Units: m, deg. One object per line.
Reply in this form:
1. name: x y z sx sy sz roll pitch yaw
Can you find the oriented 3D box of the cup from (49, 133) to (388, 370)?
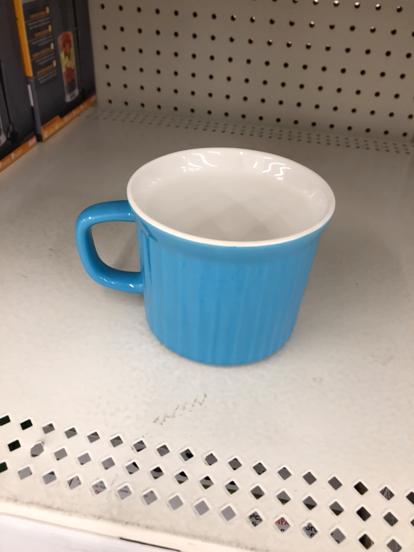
1. cup: 0.002 -0.020 0.296 0.160 0.093 0.126 0 38 -4
